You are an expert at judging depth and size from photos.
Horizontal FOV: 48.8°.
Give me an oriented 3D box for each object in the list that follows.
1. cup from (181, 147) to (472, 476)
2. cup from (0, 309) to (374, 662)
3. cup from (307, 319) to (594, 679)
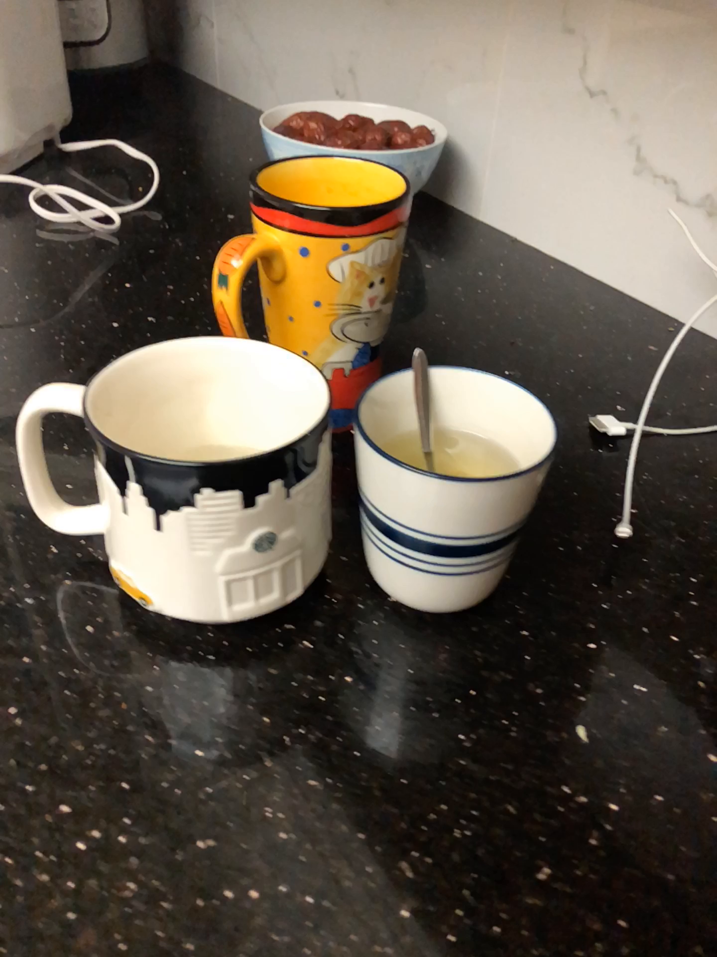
[{"bbox_3d":[-0.018,-0.098,0.445,0.090,0.129,0.120,33,47,32],"label":"cup"},{"bbox_3d":[-0.079,-0.002,0.359,0.150,0.089,0.111,9,38,6],"label":"cup"},{"bbox_3d":[0.042,0.003,0.355,0.080,0.089,0.121,19,40,18],"label":"cup"}]
